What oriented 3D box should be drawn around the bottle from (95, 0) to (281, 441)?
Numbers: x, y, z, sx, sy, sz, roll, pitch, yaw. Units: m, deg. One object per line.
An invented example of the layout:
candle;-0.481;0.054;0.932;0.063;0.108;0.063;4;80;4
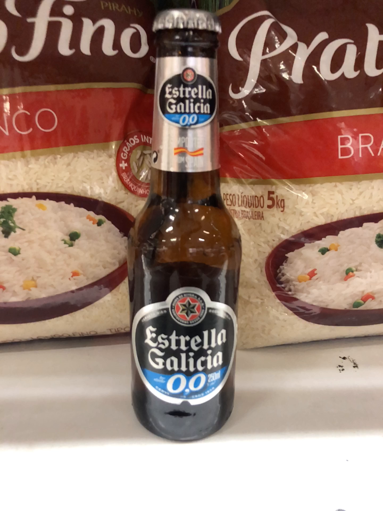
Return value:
bottle;-0.004;-0.012;0.198;0.060;0.189;0.060;2;20;-1
